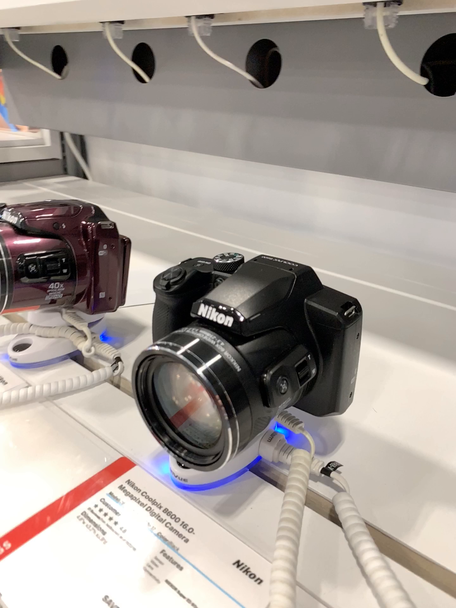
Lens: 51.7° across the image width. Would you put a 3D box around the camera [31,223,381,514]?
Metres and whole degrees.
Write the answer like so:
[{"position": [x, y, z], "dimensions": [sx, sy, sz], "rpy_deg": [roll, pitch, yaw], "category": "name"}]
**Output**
[{"position": [-0.010, 0.014, 0.243], "dimensions": [0.130, 0.070, 0.110], "rpy_deg": [18, 29, 32], "category": "camera"}]
